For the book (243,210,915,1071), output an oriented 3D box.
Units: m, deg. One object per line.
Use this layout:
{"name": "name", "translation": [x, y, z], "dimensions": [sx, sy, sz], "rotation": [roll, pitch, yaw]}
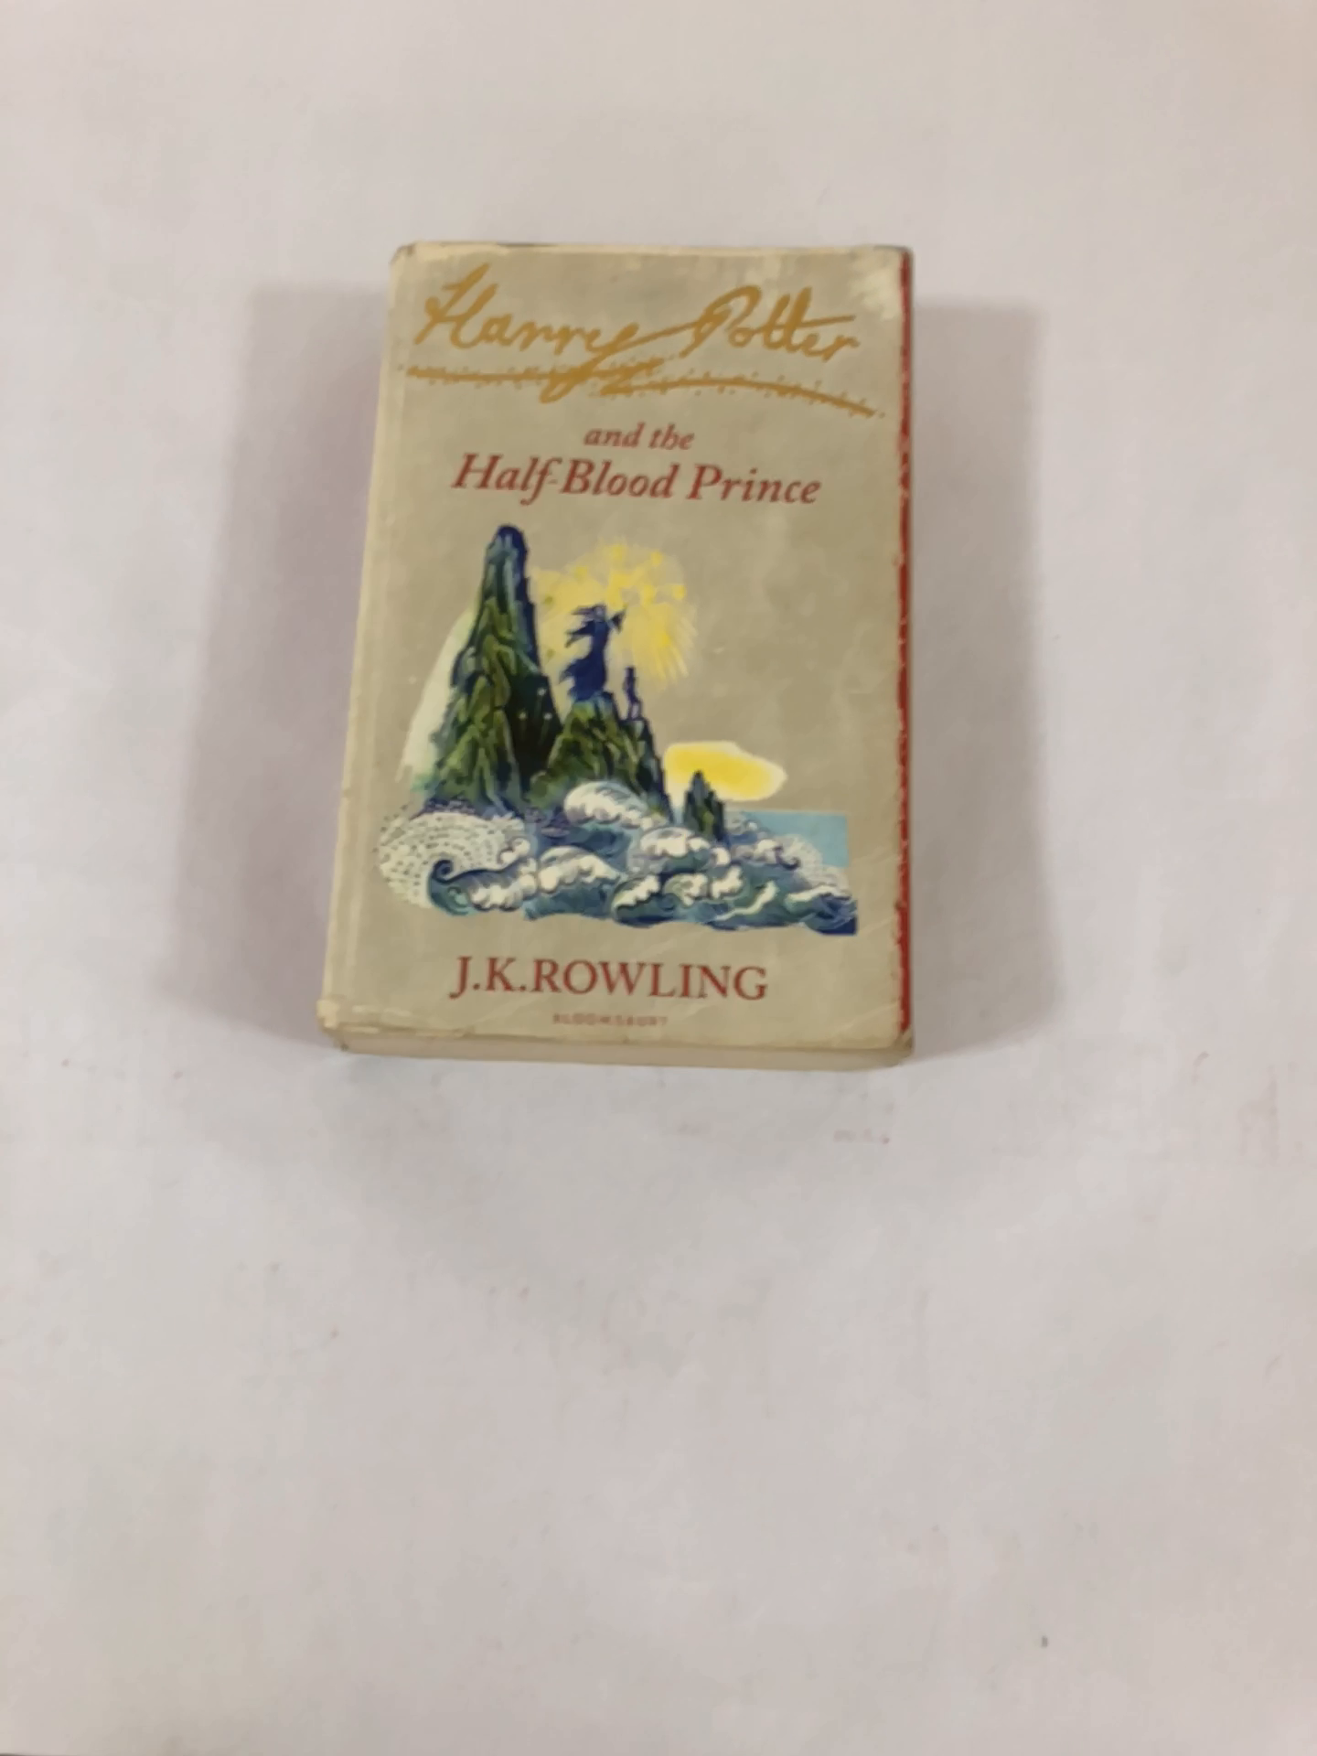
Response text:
{"name": "book", "translation": [-0.013, -0.052, 0.325], "dimensions": [0.129, 0.050, 0.181], "rotation": [1, 77, 0]}
